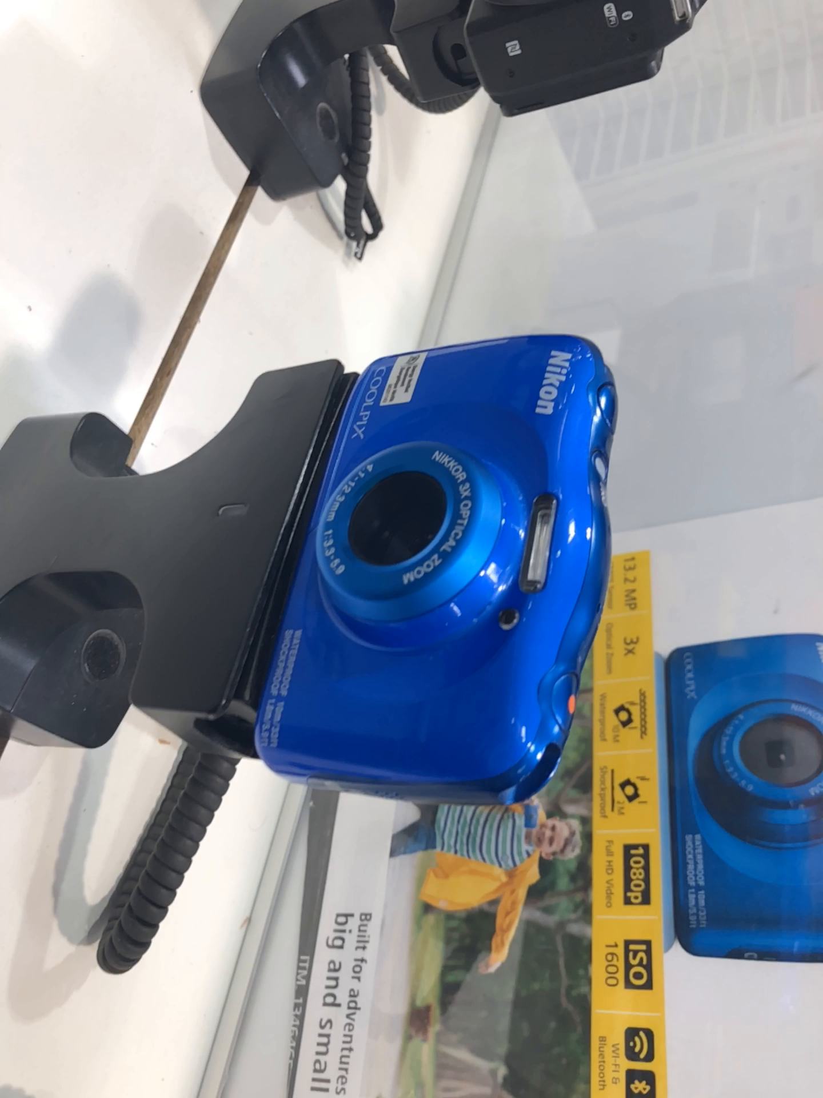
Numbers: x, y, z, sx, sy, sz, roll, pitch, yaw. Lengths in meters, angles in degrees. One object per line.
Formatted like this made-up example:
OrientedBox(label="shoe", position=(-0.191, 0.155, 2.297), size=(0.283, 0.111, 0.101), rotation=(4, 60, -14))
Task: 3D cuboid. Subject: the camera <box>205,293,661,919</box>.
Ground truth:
OrientedBox(label="camera", position=(0.013, 0.010, 0.220), size=(0.050, 0.070, 0.130), rotation=(50, 46, -47))
